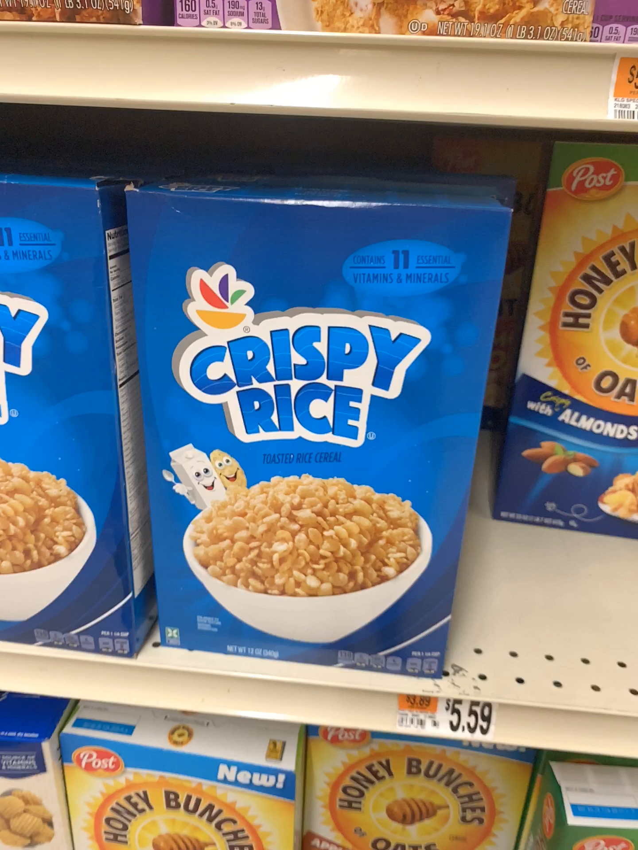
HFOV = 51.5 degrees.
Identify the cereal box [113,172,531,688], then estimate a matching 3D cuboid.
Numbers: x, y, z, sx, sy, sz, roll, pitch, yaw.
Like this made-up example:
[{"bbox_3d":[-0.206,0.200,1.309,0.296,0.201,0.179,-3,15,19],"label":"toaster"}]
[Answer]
[{"bbox_3d":[-0.004,0.014,0.428,0.210,0.318,0.070,5,25,4],"label":"cereal box"}]
